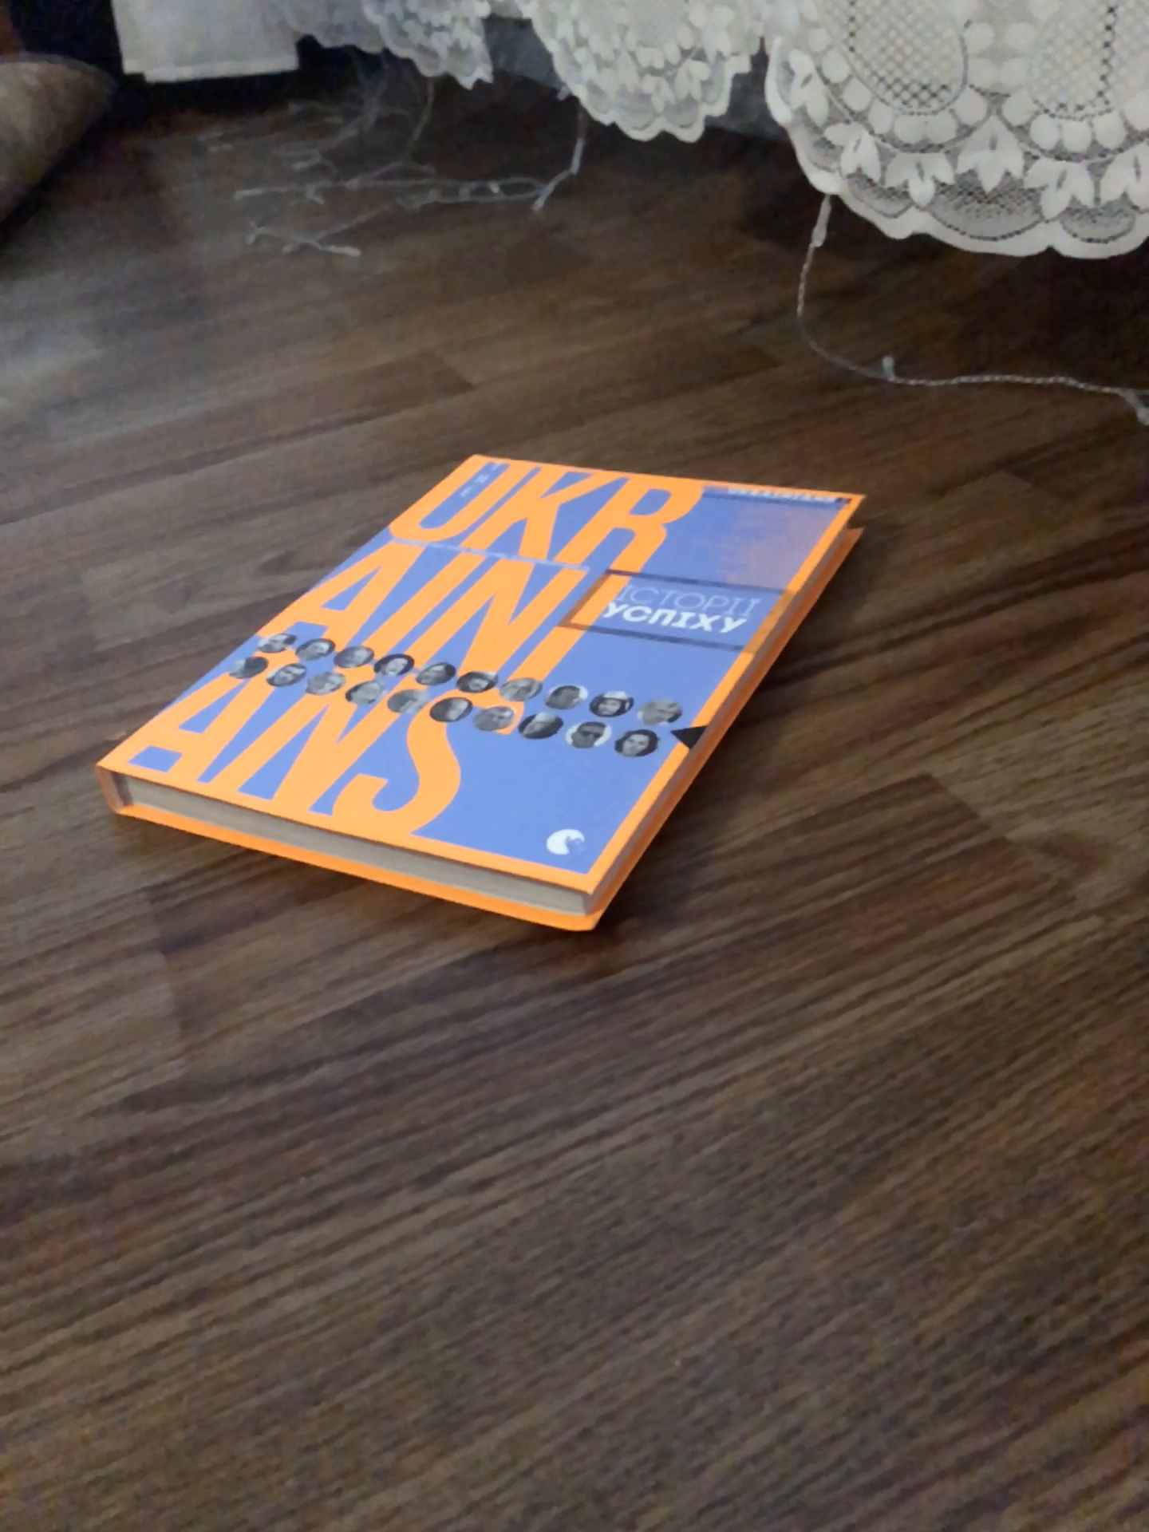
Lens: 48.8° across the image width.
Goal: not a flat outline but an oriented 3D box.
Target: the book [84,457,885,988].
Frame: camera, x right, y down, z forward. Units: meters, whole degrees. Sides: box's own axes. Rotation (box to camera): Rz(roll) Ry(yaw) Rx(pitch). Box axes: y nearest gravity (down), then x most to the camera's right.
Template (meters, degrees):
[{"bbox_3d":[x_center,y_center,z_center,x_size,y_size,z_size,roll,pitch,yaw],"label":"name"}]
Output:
[{"bbox_3d":[-0.014,-0.035,0.398,0.165,0.020,0.216,13,41,24],"label":"book"}]
